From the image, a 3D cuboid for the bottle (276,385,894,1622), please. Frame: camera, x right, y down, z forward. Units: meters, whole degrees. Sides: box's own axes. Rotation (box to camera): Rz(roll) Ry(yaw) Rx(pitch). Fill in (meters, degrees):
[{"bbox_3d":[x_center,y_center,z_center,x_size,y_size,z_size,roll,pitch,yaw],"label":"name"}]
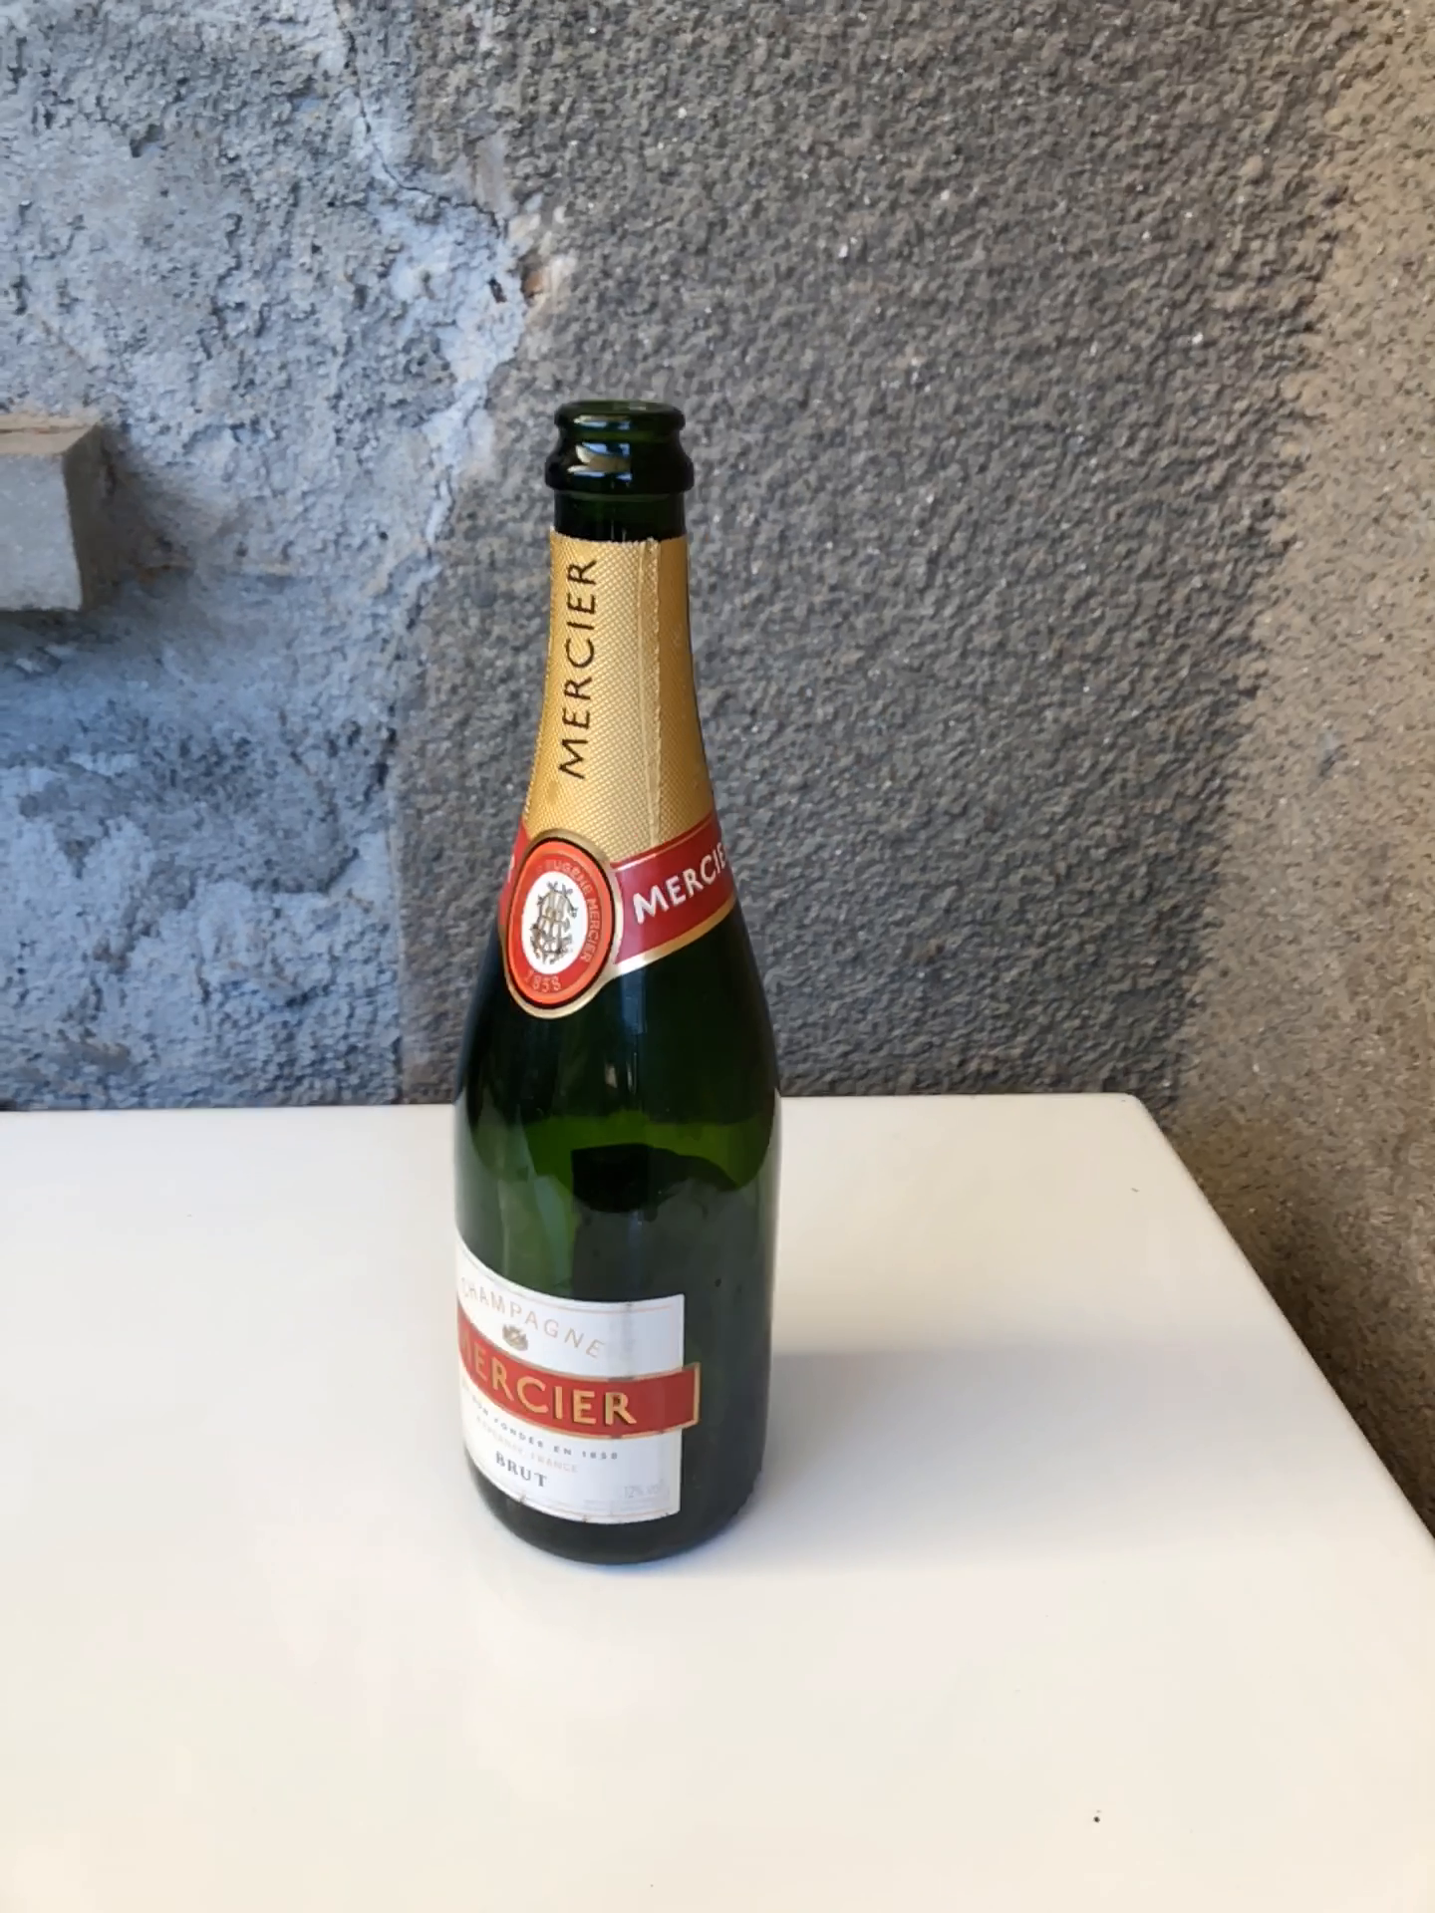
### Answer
[{"bbox_3d":[-0.032,0.013,0.407,0.100,0.288,0.091,19,30,31],"label":"bottle"}]
